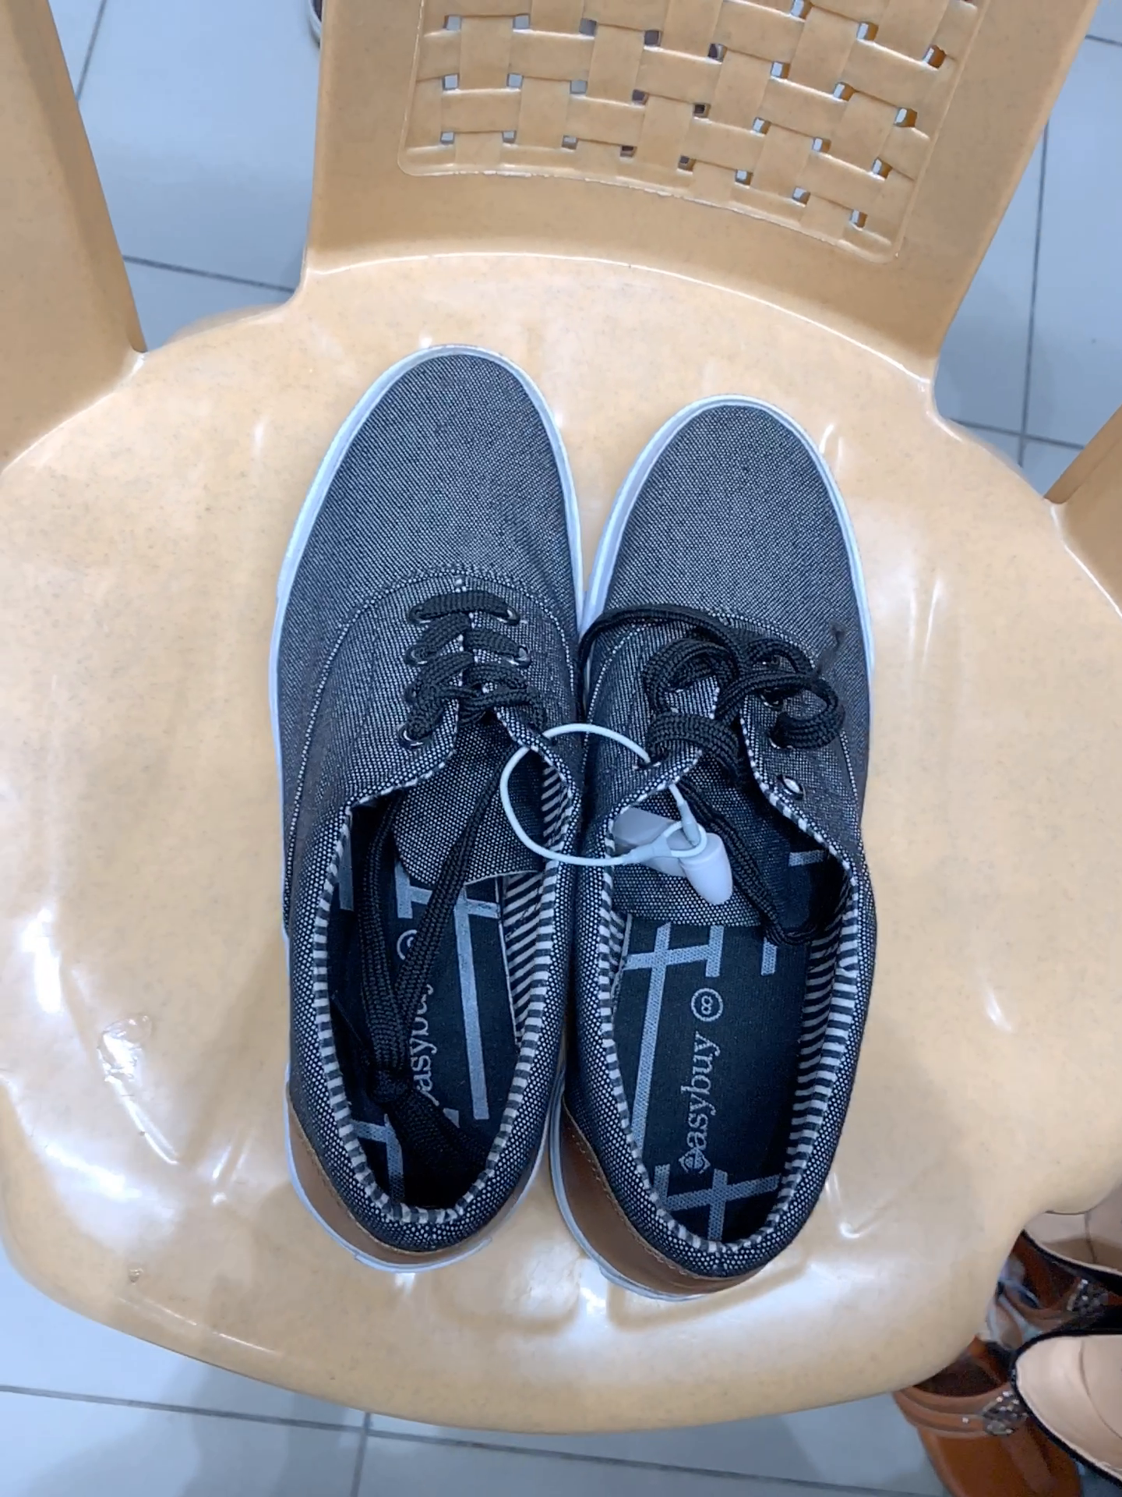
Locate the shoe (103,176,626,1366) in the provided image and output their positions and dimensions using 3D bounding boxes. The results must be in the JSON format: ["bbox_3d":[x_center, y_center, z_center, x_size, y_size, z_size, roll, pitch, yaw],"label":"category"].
[{"bbox_3d":[-0.042,0.004,0.308,0.100,0.110,0.260,2,79,-5],"label":"shoe"}]

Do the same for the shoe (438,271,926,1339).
[{"bbox_3d":[0.033,0.015,0.355,0.110,0.110,0.270,6,79,-4],"label":"shoe"}]
